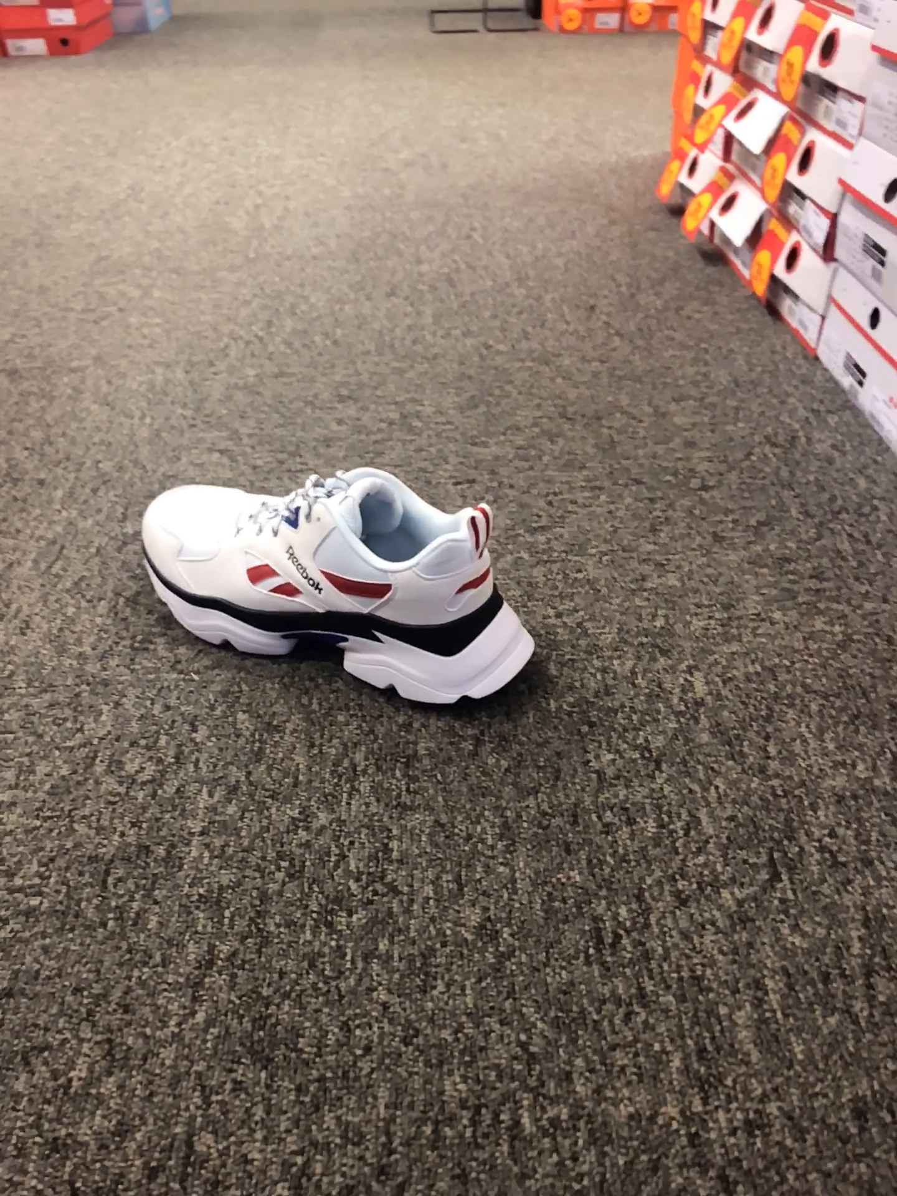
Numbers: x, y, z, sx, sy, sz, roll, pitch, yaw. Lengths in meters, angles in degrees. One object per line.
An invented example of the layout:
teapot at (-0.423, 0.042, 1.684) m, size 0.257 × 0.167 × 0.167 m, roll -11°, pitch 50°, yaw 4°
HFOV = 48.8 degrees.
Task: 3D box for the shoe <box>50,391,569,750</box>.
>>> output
shoe at (-0.087, -0.029, 0.628) m, size 0.300 × 0.109 × 0.114 m, roll 17°, pitch 41°, yaw 23°
